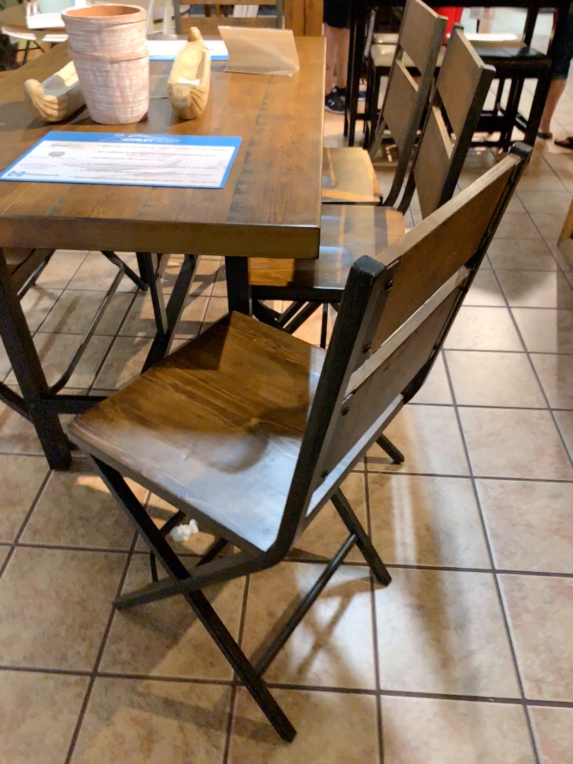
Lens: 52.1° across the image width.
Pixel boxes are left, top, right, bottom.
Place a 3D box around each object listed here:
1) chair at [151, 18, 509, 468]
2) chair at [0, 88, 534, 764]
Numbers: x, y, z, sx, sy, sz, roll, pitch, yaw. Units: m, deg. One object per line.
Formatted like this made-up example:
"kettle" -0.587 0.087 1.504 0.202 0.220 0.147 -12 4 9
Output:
"chair" 0.101 -0.309 1.520 0.615 1.003 0.495 1 40 4
"chair" -0.067 0.098 1.024 0.616 0.983 0.443 23 43 29
